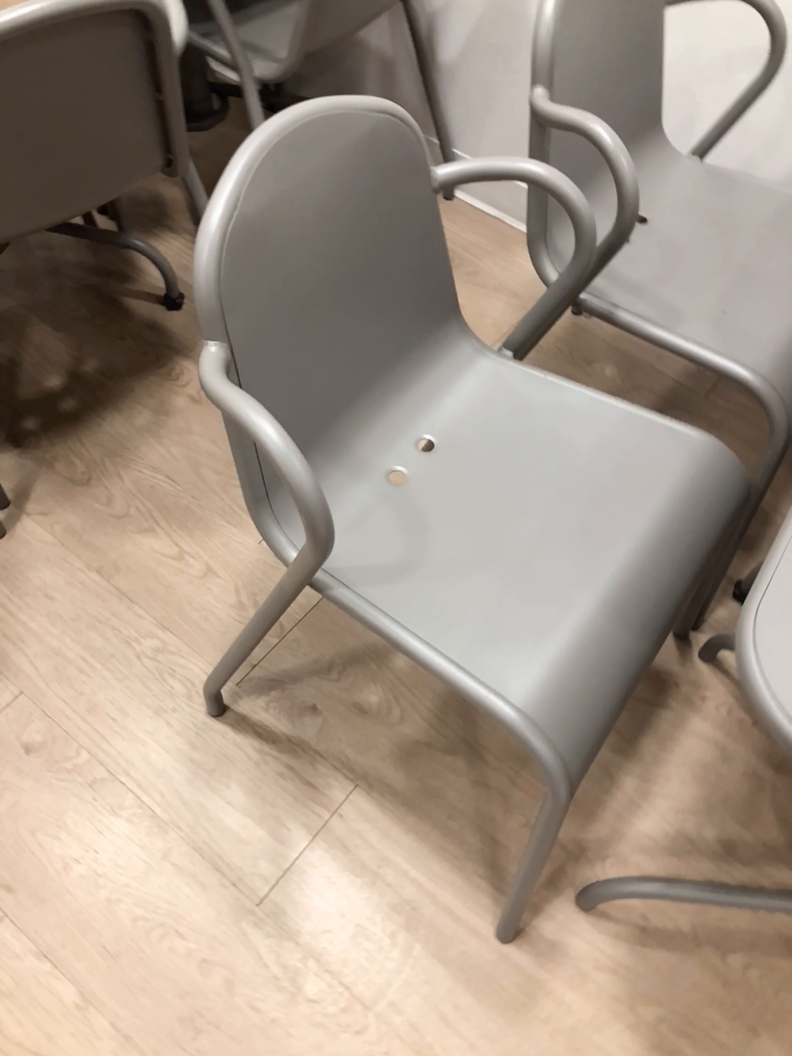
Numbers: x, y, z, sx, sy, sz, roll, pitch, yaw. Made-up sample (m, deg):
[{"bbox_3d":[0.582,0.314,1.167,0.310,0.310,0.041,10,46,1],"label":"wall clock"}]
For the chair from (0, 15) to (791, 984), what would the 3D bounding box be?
[{"bbox_3d":[0.082,0.016,0.921,0.611,0.706,0.482,33,60,17],"label":"chair"}]
